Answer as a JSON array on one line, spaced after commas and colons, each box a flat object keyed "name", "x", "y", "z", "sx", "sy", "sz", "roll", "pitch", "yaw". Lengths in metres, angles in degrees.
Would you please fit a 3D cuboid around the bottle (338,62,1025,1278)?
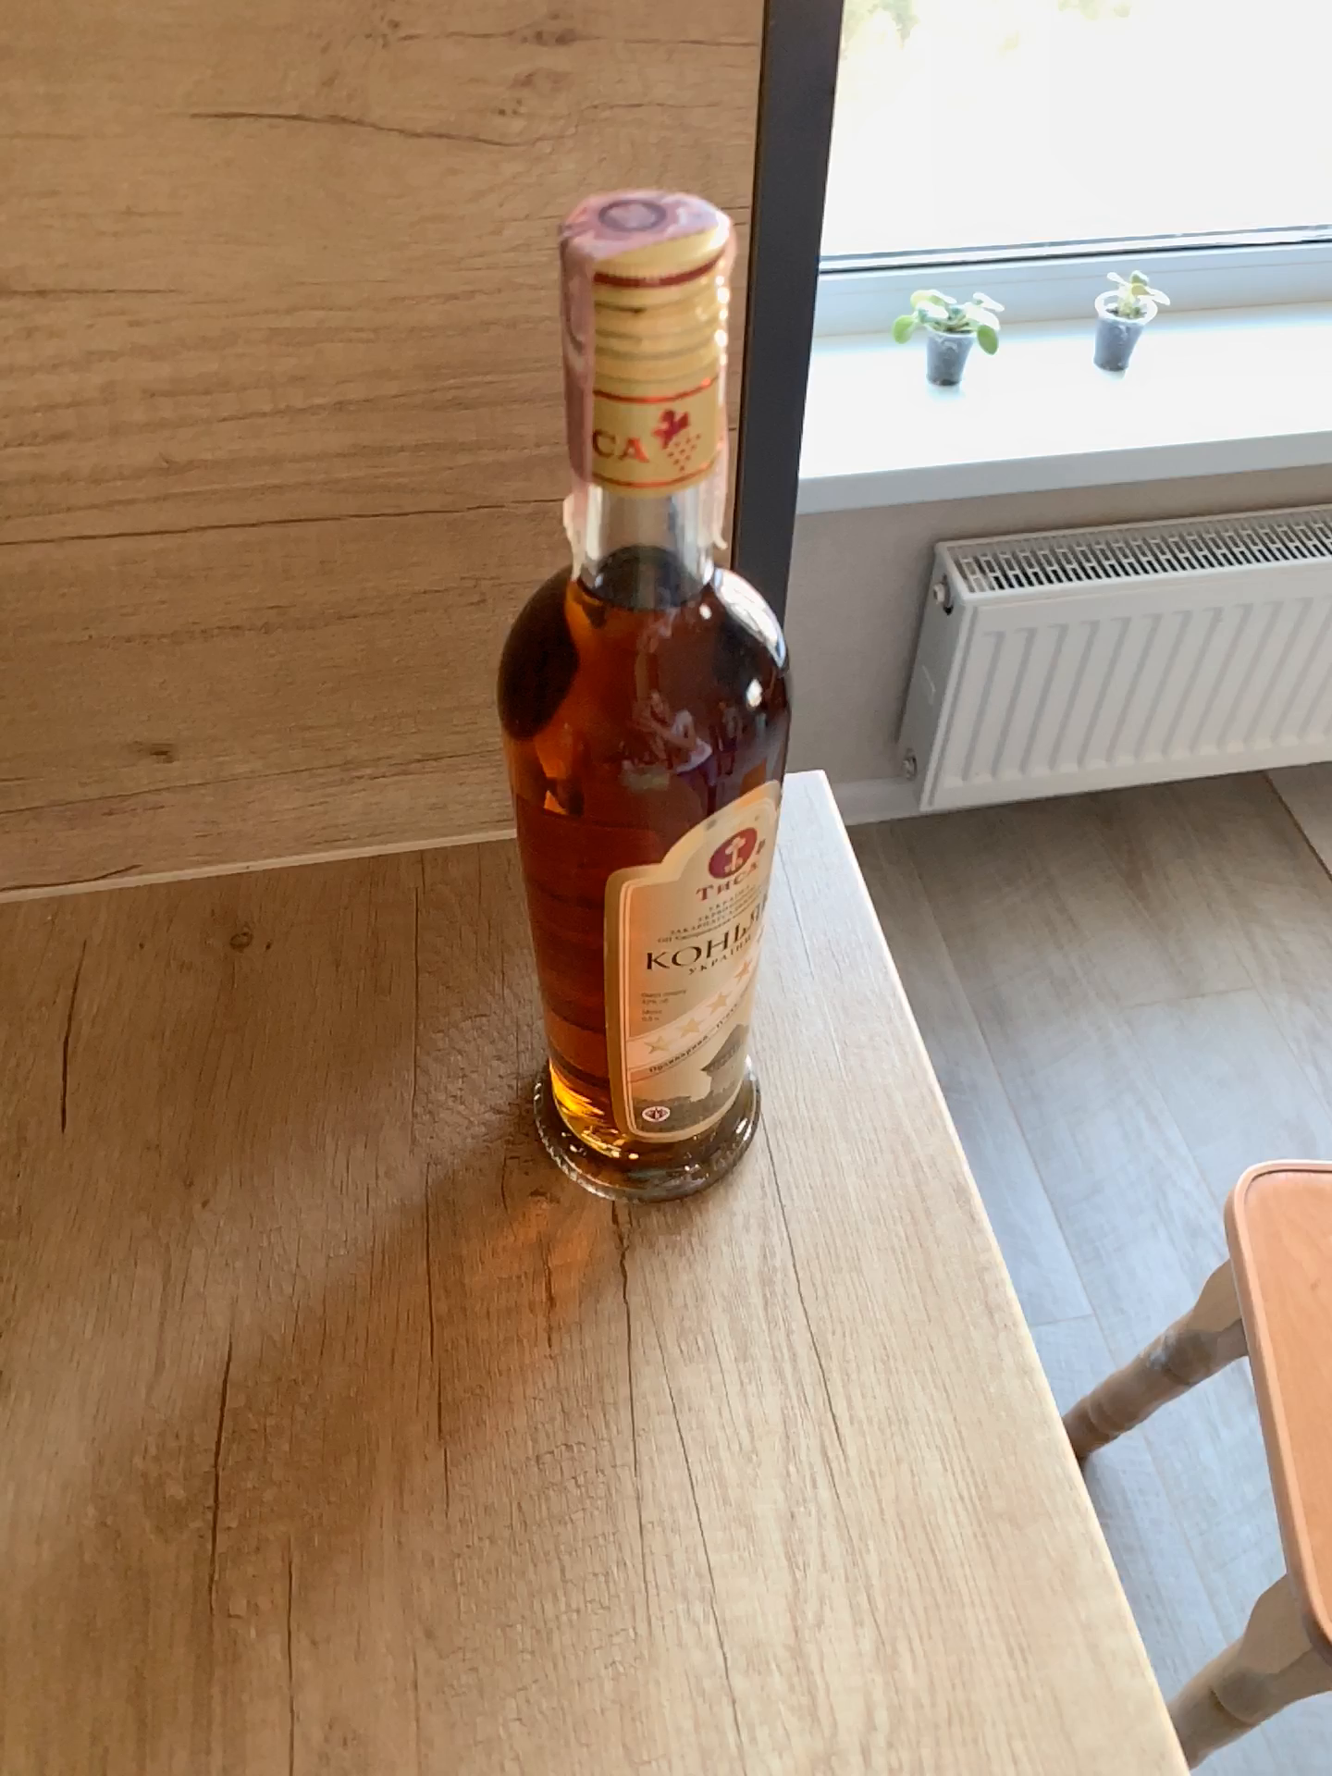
[{"name": "bottle", "x": 0.000, "y": -0.018, "z": 0.318, "sx": 0.080, "sy": 0.279, "sz": 0.070, "roll": -30, "pitch": 56, "yaw": -24}]
